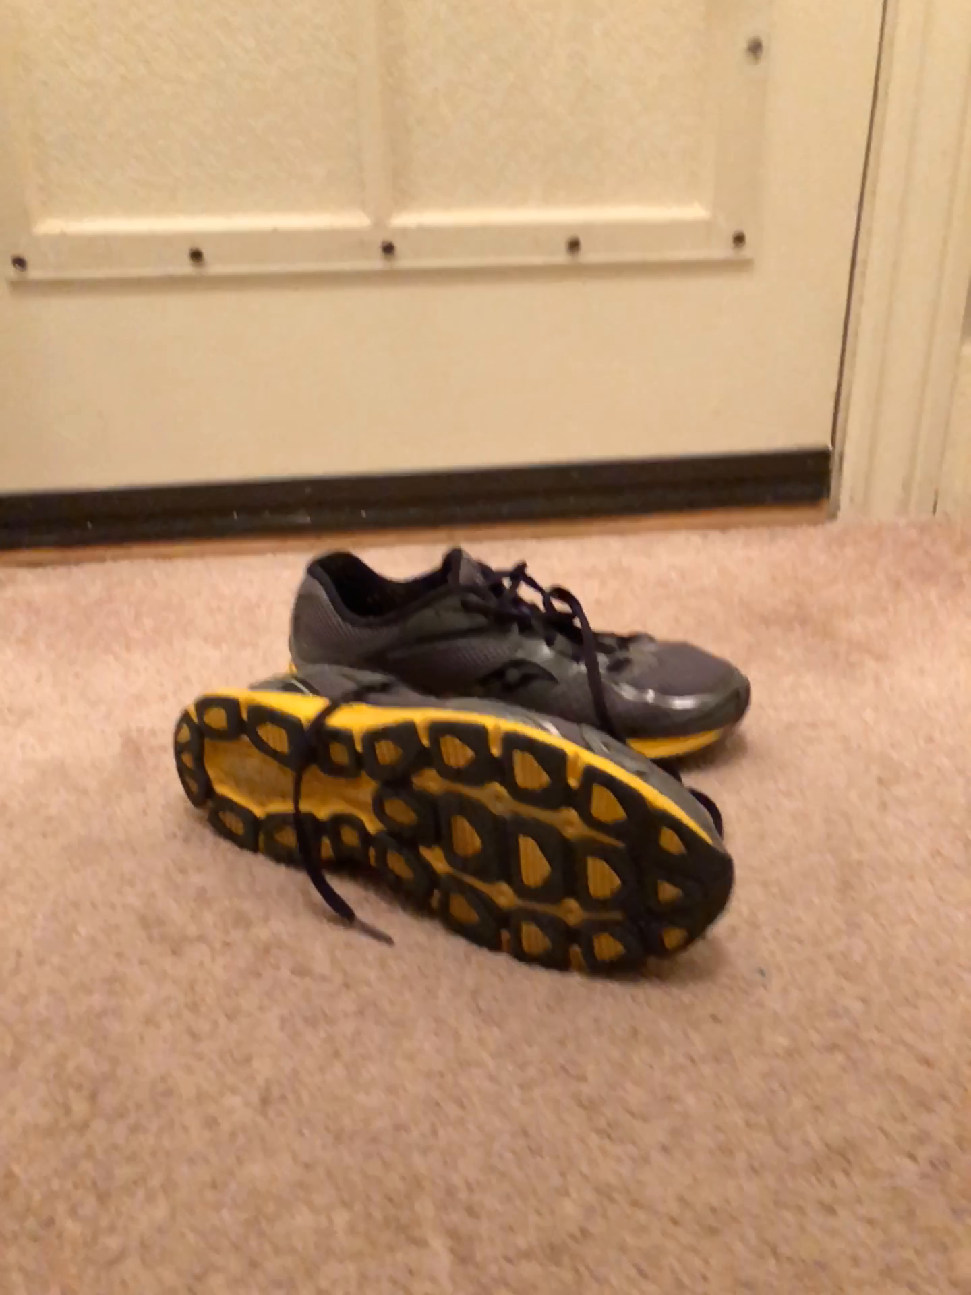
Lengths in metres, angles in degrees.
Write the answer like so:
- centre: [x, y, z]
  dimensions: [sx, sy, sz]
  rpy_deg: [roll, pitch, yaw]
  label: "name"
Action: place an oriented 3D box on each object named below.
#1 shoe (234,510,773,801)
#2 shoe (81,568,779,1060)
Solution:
- centre: [0.014, -0.005, 0.625]
  dimensions: [0.283, 0.099, 0.119]
  rpy_deg: [7, 26, 16]
  label: "shoe"
- centre: [-0.029, 0.059, 0.497]
  dimensions: [0.293, 0.117, 0.110]
  rpy_deg: [12, 30, 26]
  label: "shoe"
